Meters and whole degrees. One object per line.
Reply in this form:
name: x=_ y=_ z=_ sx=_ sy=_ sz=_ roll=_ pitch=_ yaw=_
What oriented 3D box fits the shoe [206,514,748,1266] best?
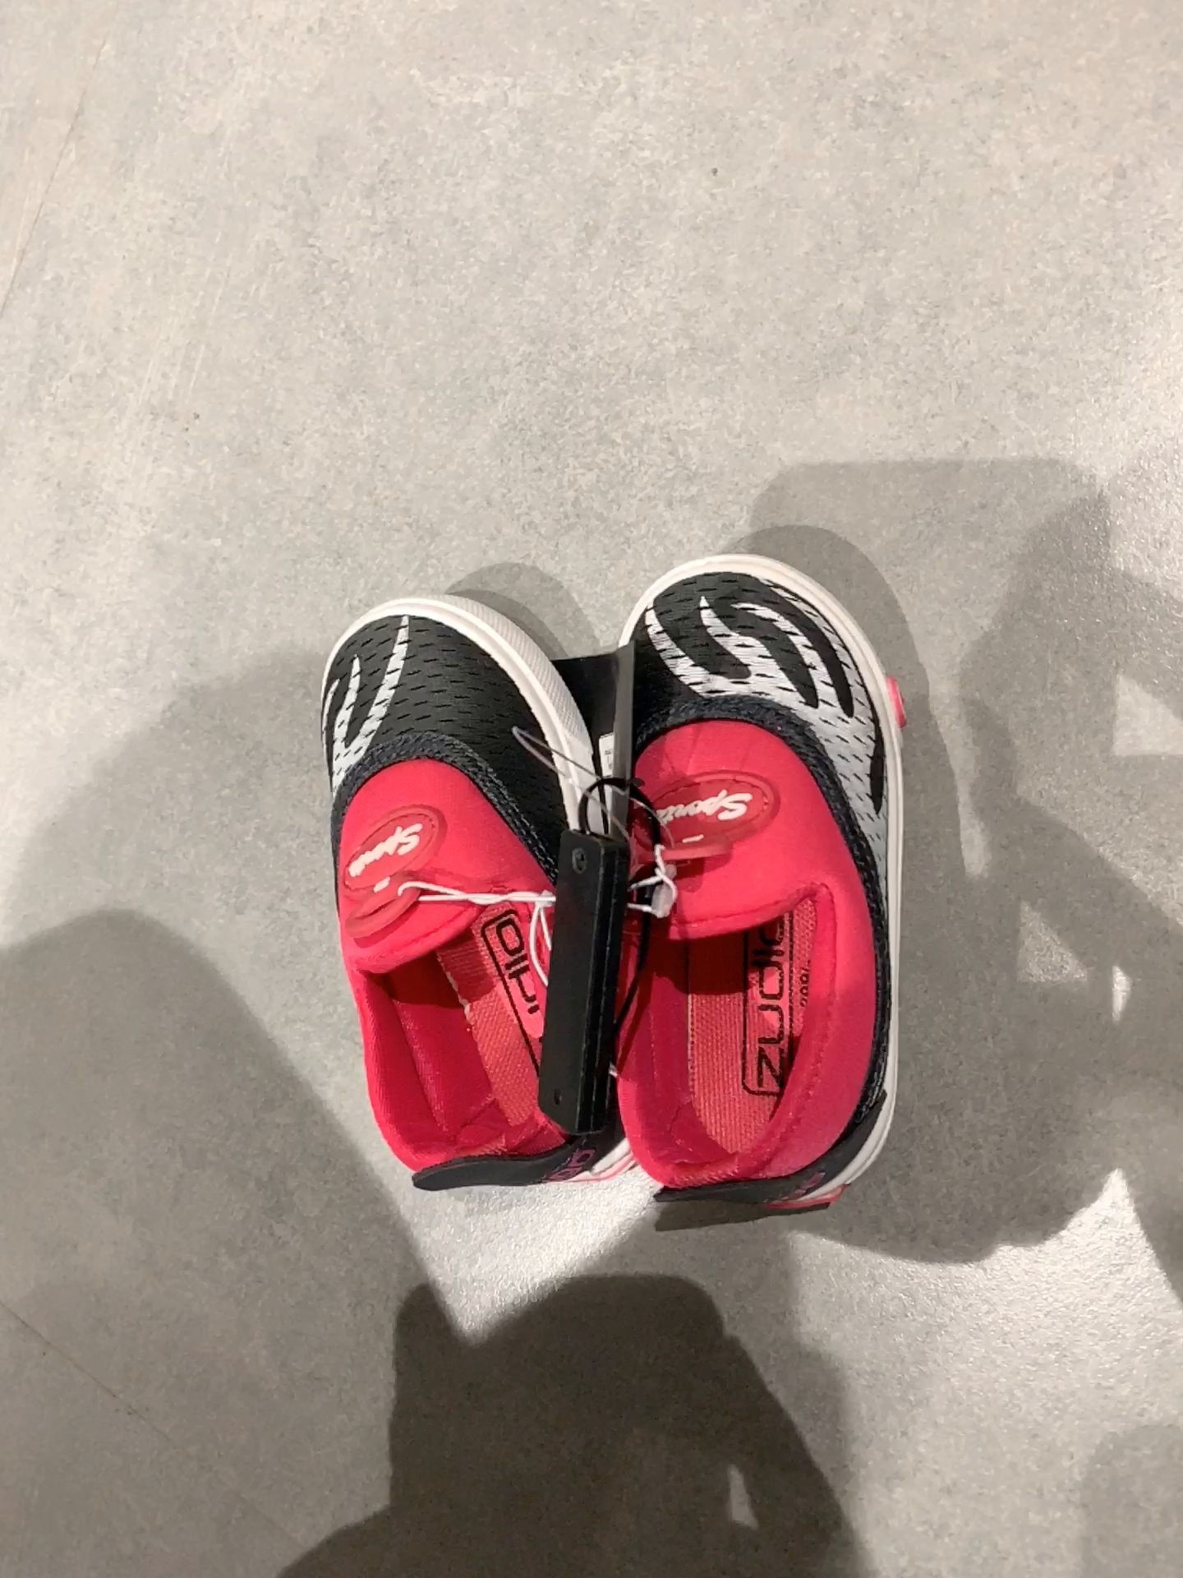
shoe: x=-0.025 y=0.021 z=0.275 sx=0.060 sy=0.060 sz=0.140 roll=-24 pitch=79 yaw=18

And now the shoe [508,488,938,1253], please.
shoe: x=0.030 y=0.018 z=0.263 sx=0.070 sy=0.060 sz=0.140 roll=-5 pitch=85 yaw=20
